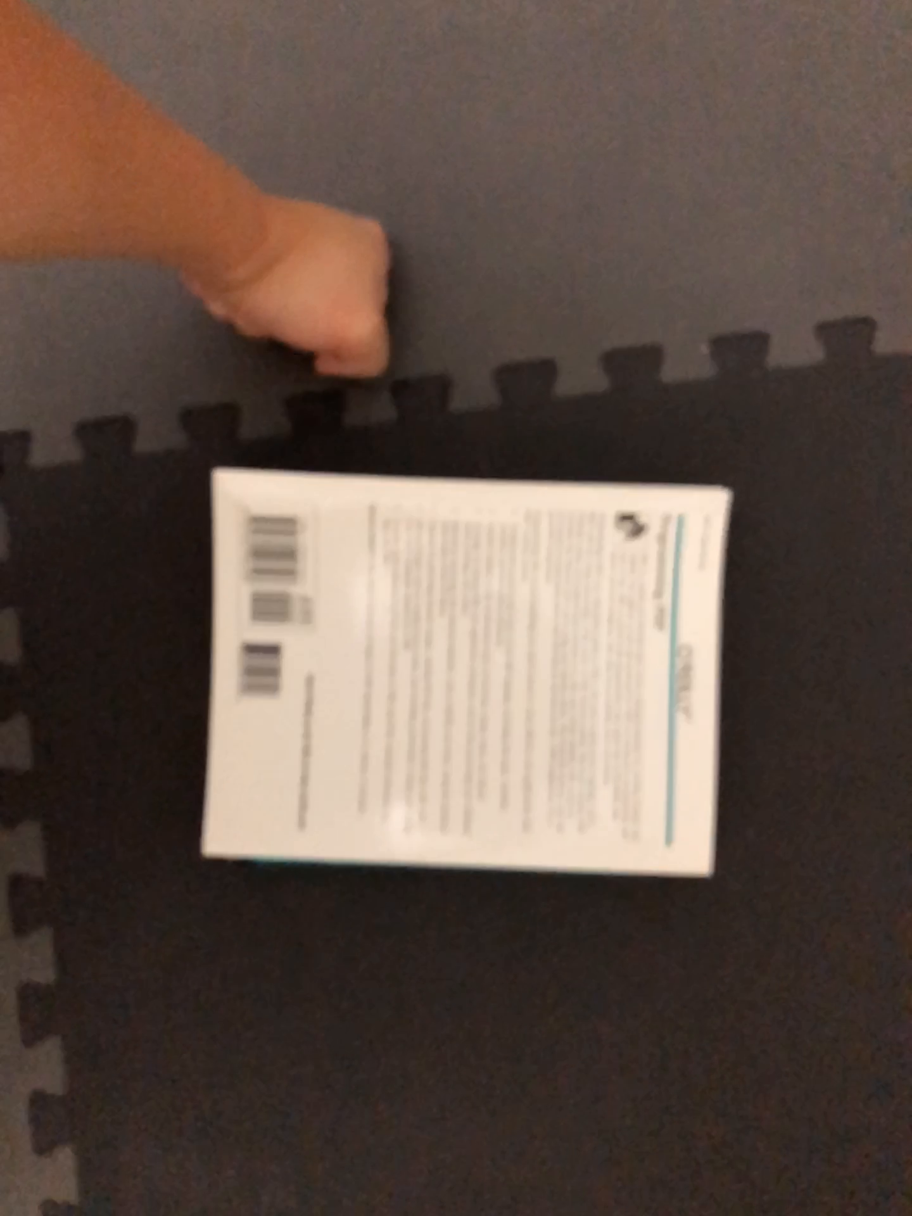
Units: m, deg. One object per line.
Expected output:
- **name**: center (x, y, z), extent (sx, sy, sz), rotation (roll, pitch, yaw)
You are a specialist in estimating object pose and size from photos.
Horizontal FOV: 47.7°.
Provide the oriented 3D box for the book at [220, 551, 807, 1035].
- **book**: center (0.030, 0.093, 0.551), extent (0.290, 0.040, 0.230), rotation (3, 87, 3)
